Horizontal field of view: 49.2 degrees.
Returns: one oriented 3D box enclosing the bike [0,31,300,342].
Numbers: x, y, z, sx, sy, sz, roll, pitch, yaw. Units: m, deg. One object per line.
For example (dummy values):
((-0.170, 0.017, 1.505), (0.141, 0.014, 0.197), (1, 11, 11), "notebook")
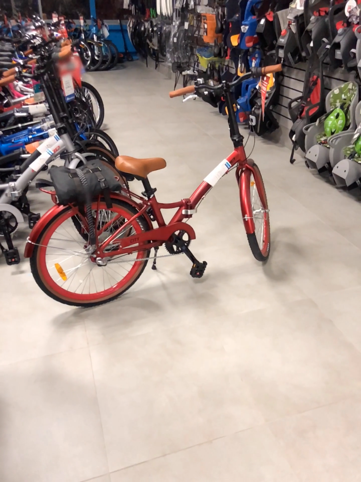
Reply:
((-0.112, -0.406, 2.131), (1.497, 1.111, 0.518), (-24, 38, -30), "bike")
